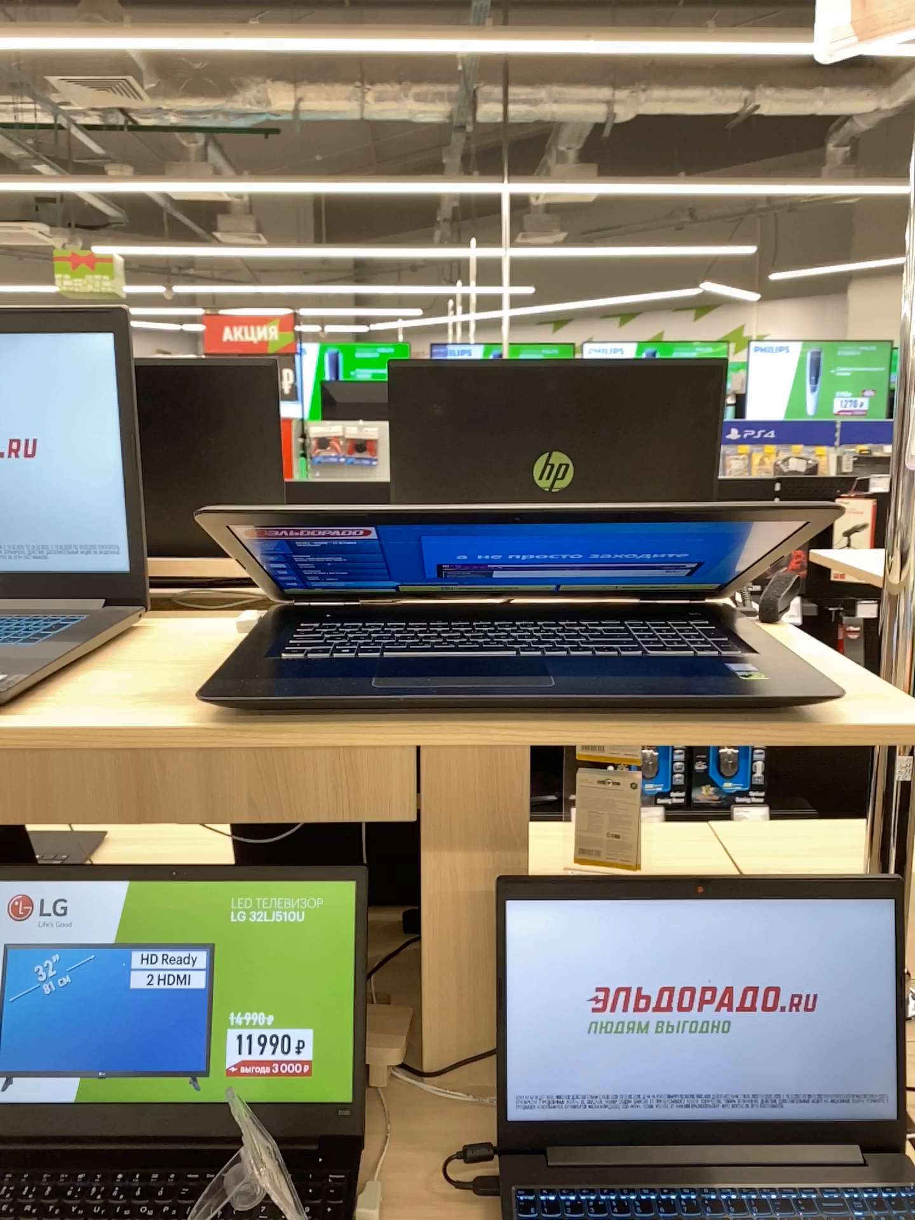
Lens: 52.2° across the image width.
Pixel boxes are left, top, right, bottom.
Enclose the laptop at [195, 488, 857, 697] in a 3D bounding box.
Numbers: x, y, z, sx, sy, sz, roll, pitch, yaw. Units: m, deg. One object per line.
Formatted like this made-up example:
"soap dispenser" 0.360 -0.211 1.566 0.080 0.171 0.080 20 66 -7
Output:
"laptop" 0.038 -0.026 0.697 0.396 0.103 0.264 0 12 0
